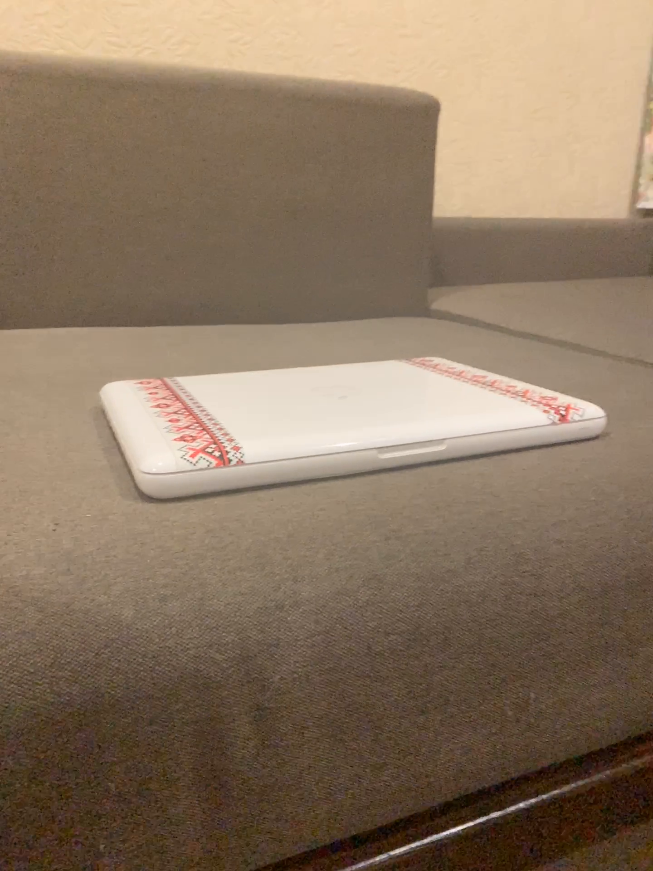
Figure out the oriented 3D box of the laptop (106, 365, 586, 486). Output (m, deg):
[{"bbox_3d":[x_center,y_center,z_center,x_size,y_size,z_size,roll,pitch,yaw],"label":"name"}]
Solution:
[{"bbox_3d":[0.005,-0.023,0.537,0.324,0.003,0.223,-6,19,-24],"label":"laptop"}]
